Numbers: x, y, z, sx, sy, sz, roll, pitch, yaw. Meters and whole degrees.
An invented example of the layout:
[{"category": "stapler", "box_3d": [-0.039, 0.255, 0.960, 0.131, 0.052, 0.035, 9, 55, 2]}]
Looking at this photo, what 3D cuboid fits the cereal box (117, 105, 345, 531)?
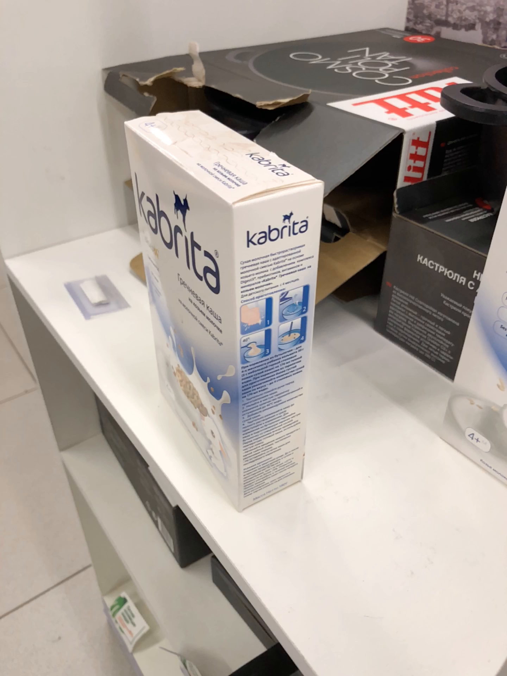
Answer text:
[{"category": "cereal box", "box_3d": [-0.019, -0.010, 0.348, 0.050, 0.219, 0.141, -21, 41, -26]}]
